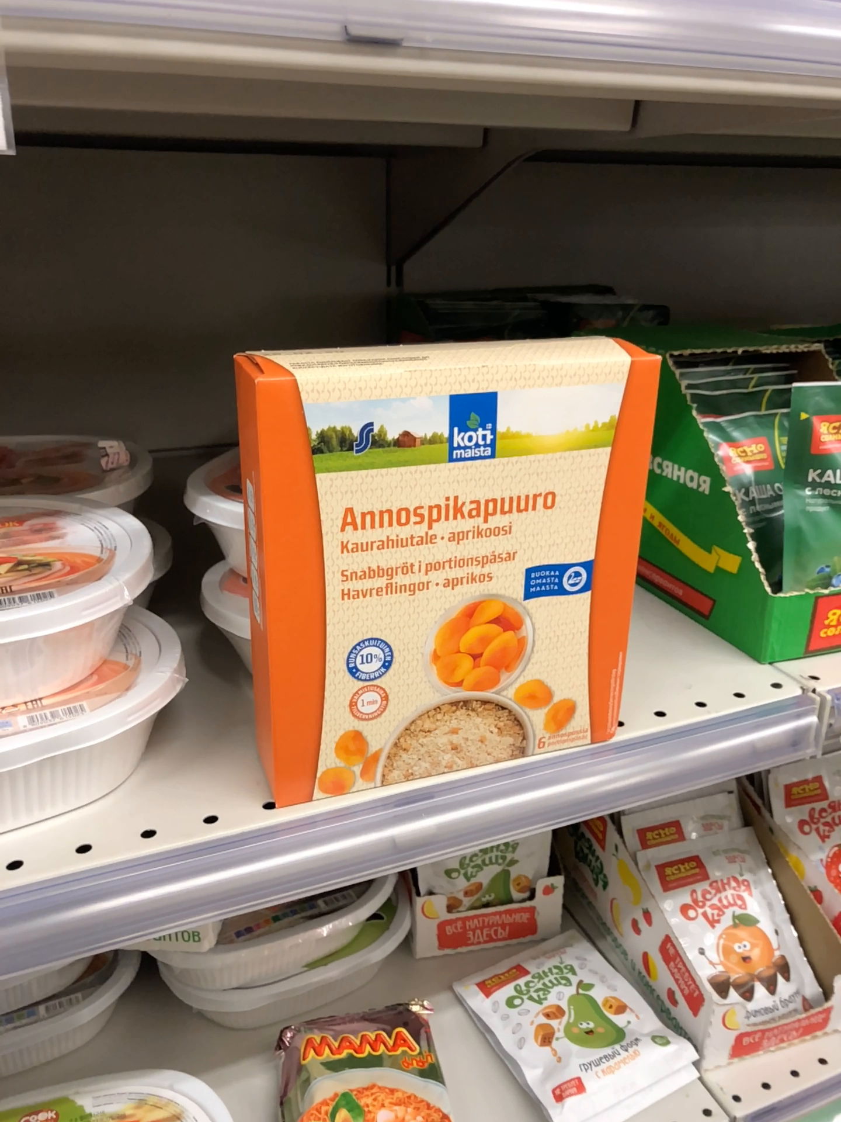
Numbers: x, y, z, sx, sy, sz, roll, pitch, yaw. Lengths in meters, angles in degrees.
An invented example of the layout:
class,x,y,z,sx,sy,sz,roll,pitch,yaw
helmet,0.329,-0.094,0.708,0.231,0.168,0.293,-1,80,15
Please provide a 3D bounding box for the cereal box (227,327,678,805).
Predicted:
class,x,y,z,sx,sy,sz,roll,pitch,yaw
cereal box,0.012,-0.003,0.403,0.170,0.179,0.060,-7,22,-18
